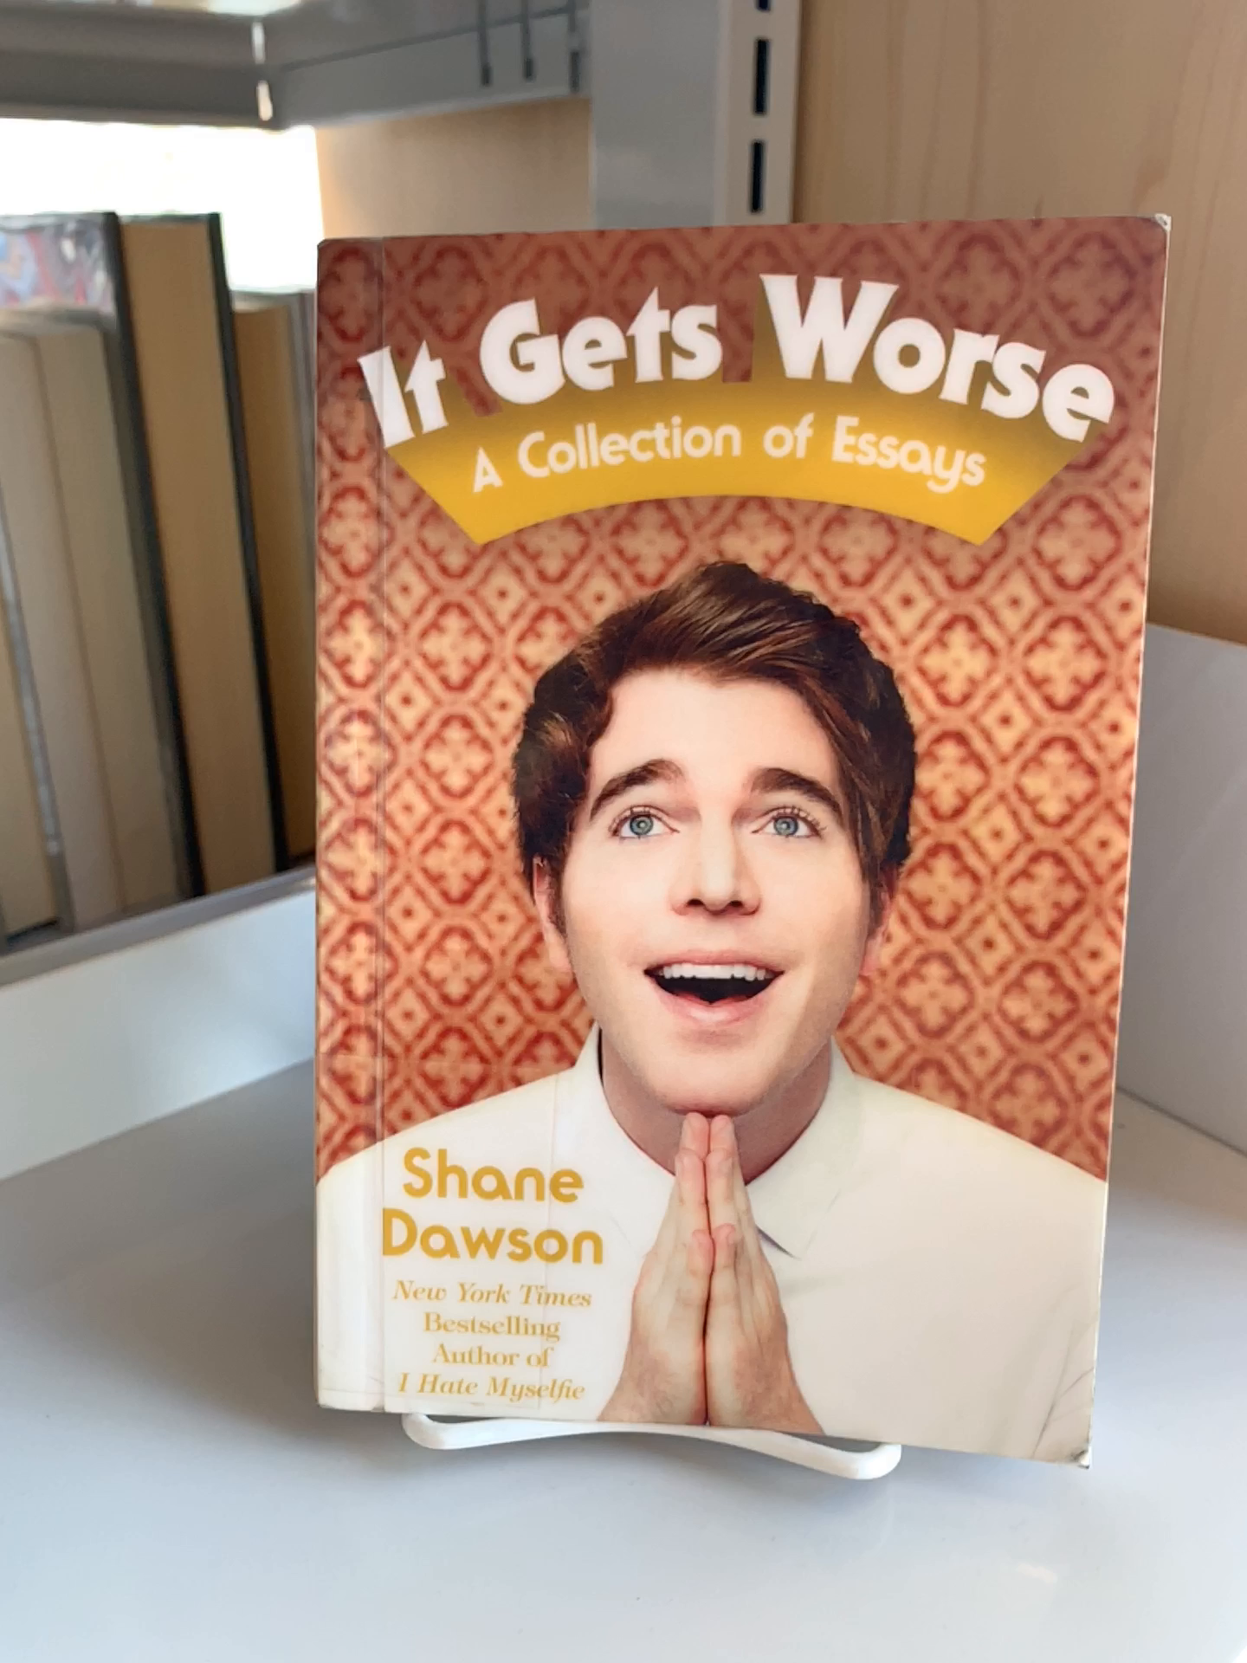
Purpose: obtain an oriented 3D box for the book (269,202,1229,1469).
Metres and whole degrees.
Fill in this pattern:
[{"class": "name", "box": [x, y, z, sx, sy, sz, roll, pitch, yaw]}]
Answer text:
[{"class": "book", "box": [0.016, 0.004, 0.233, 0.149, 0.210, 0.030, 2, 9, 4]}]
